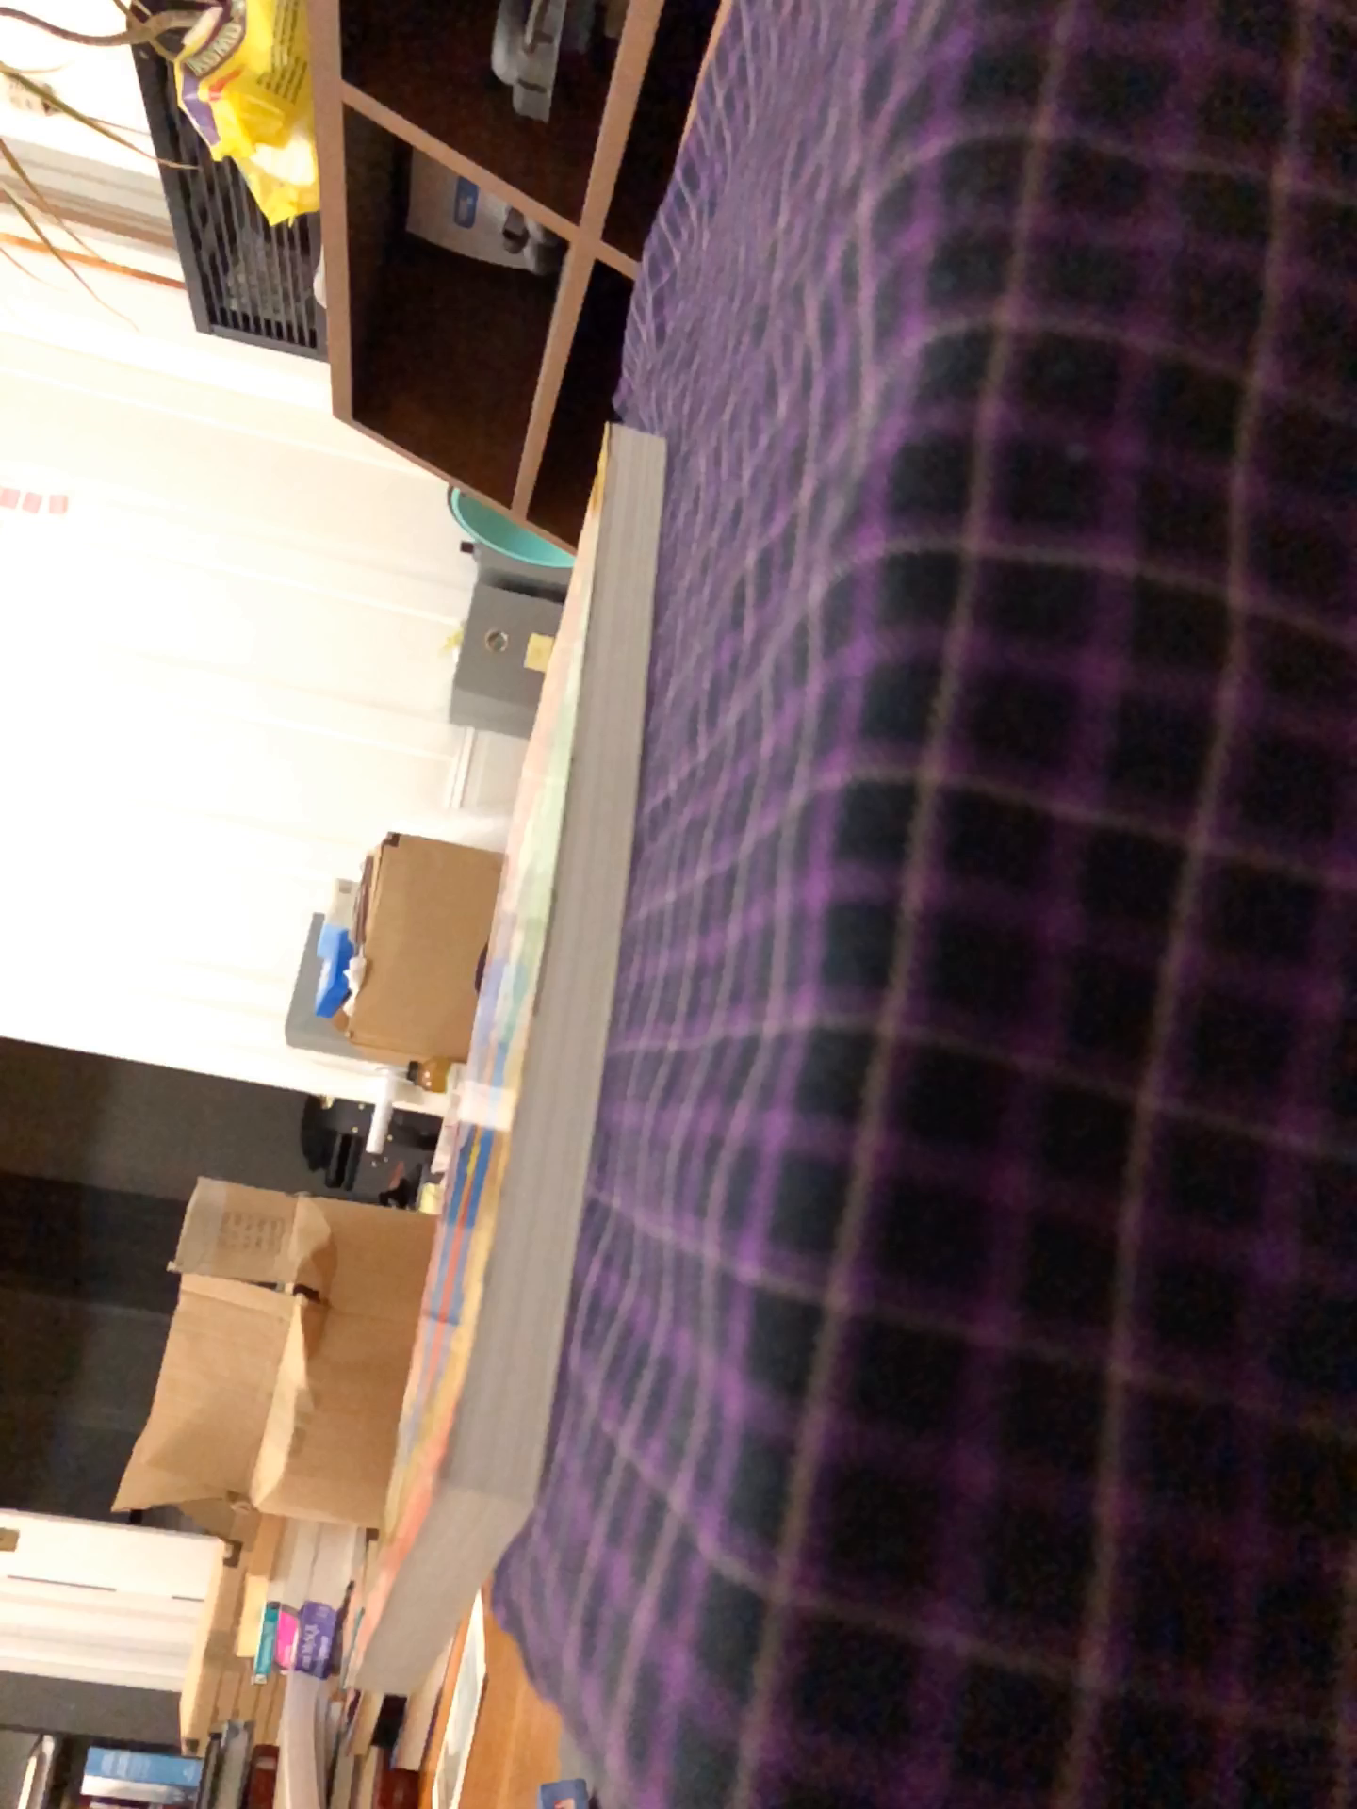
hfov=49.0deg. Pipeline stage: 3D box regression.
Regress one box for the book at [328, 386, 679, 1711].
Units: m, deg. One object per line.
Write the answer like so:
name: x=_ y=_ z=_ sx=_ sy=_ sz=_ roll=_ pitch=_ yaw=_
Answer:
book: x=-0.040 y=0.028 z=0.357 sx=0.170 sy=0.020 sz=0.270 roll=114 pitch=165 yaw=-51
